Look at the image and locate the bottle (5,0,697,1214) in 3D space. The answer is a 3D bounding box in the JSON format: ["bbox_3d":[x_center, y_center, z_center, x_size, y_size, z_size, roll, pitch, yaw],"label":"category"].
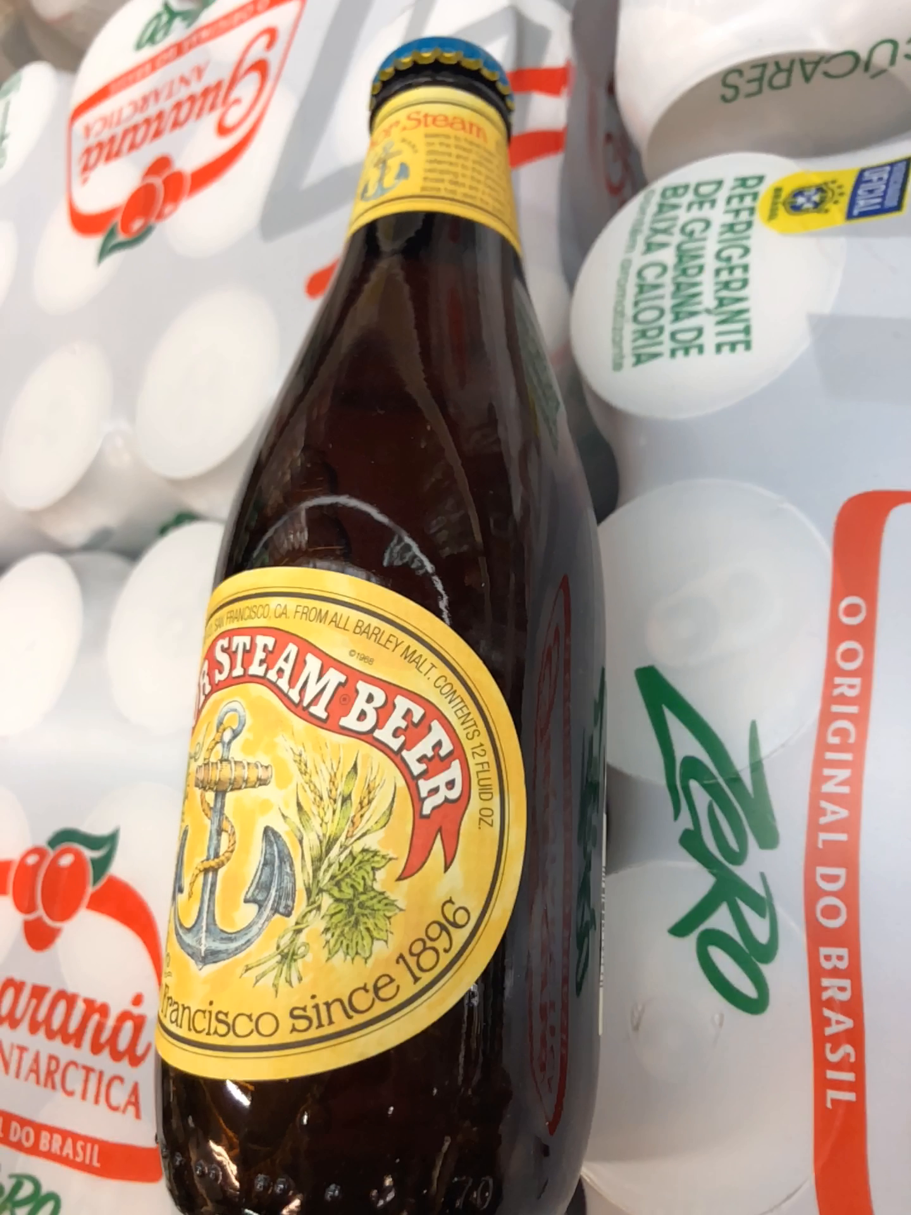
[{"bbox_3d":[-0.010,-0.021,0.167,0.070,0.060,0.220,-9,71,34],"label":"bottle"}]
